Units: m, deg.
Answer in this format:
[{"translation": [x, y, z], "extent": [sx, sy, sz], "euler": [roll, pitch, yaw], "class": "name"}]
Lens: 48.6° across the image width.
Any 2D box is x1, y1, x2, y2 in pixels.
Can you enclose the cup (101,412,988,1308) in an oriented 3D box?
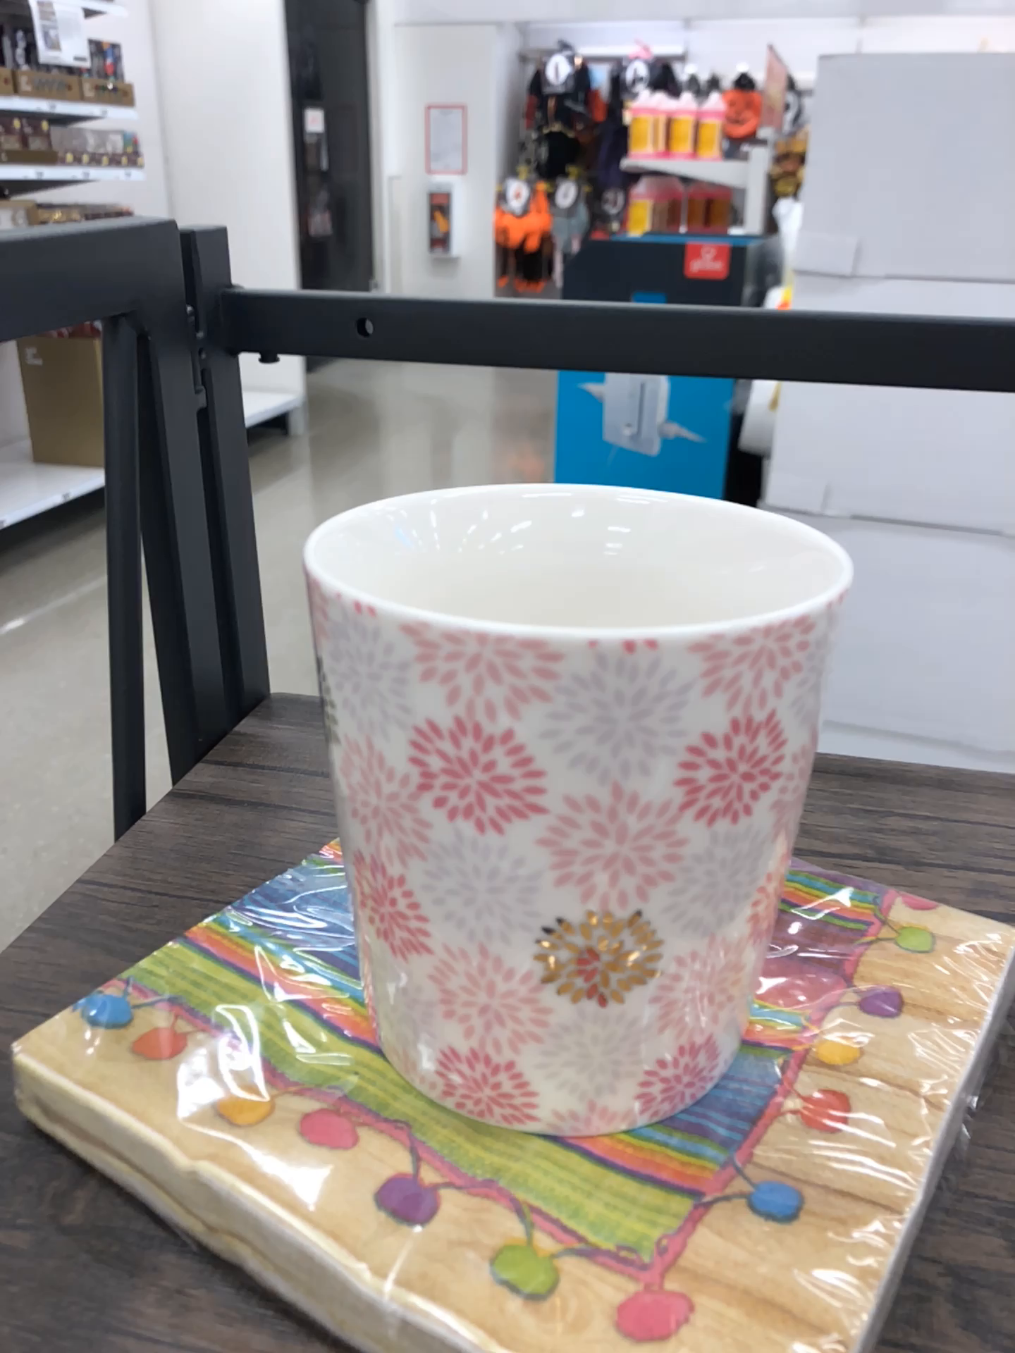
[{"translation": [0.015, 0.014, 0.227], "extent": [0.100, 0.100, 0.140], "euler": [18, 29, 34], "class": "cup"}]
